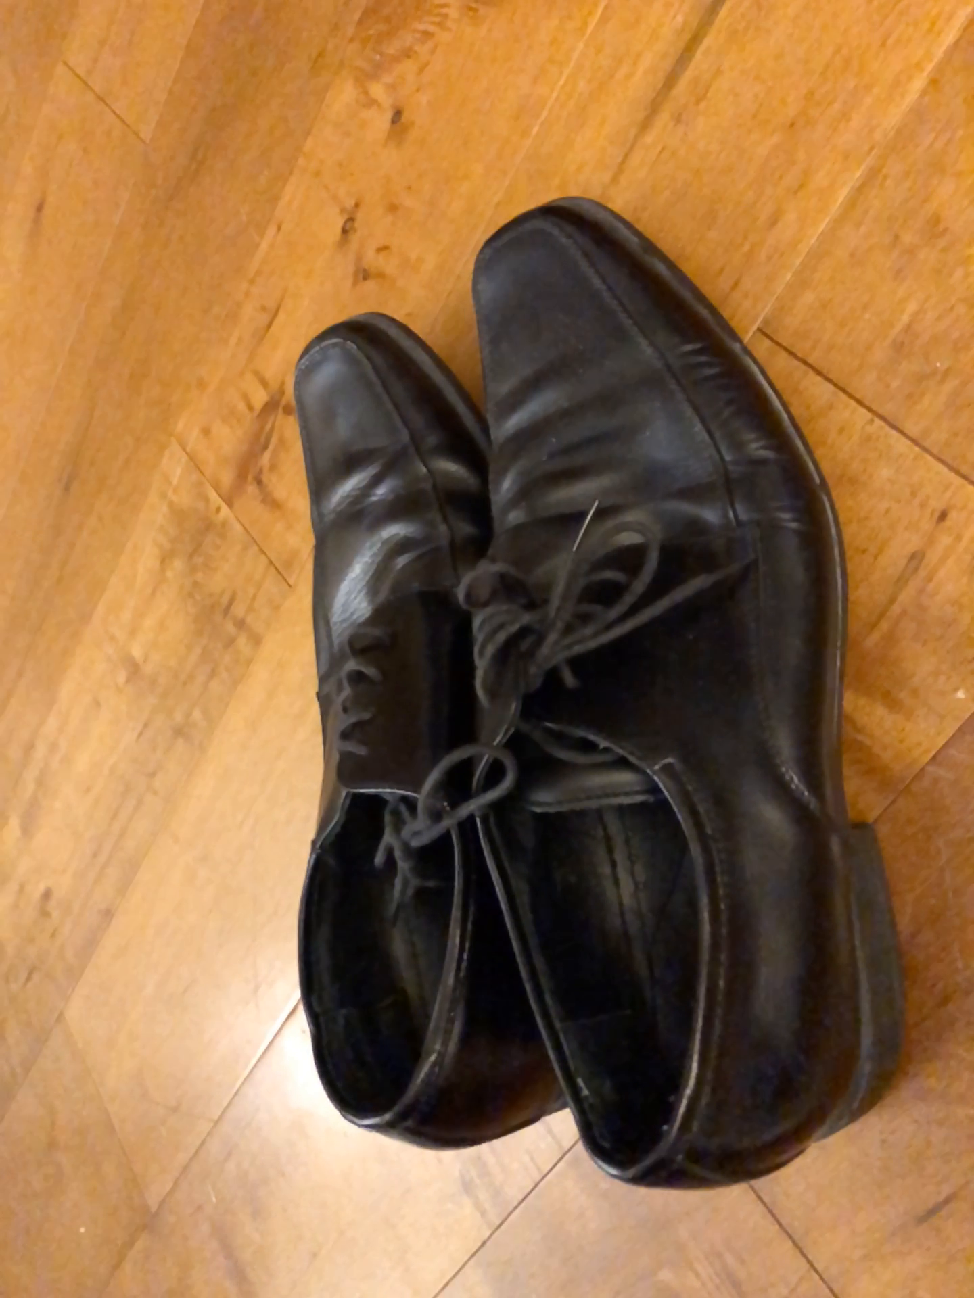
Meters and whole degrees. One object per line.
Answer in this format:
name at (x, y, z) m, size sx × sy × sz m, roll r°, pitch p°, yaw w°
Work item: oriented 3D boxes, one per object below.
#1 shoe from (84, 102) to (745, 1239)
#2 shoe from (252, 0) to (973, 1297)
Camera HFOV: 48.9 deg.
shoe at (-0.031, 0.006, 0.364) m, size 0.111 × 0.129 × 0.310 m, roll -22°, pitch 74°, yaw 39°
shoe at (0.044, -0.018, 0.297) m, size 0.111 × 0.129 × 0.310 m, roll -22°, pitch 74°, yaw 39°
